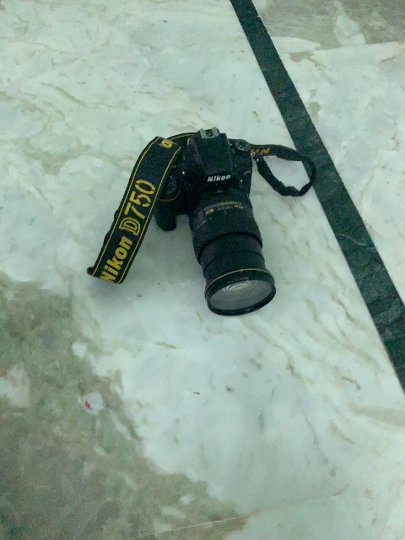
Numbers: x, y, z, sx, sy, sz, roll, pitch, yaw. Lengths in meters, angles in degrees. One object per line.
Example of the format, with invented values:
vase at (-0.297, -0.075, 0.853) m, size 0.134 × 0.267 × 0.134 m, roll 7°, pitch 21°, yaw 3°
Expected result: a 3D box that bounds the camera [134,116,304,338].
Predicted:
camera at (0.006, -0.058, 0.488) m, size 0.139 × 0.100 × 0.233 m, roll -9°, pitch 57°, yaw -5°
